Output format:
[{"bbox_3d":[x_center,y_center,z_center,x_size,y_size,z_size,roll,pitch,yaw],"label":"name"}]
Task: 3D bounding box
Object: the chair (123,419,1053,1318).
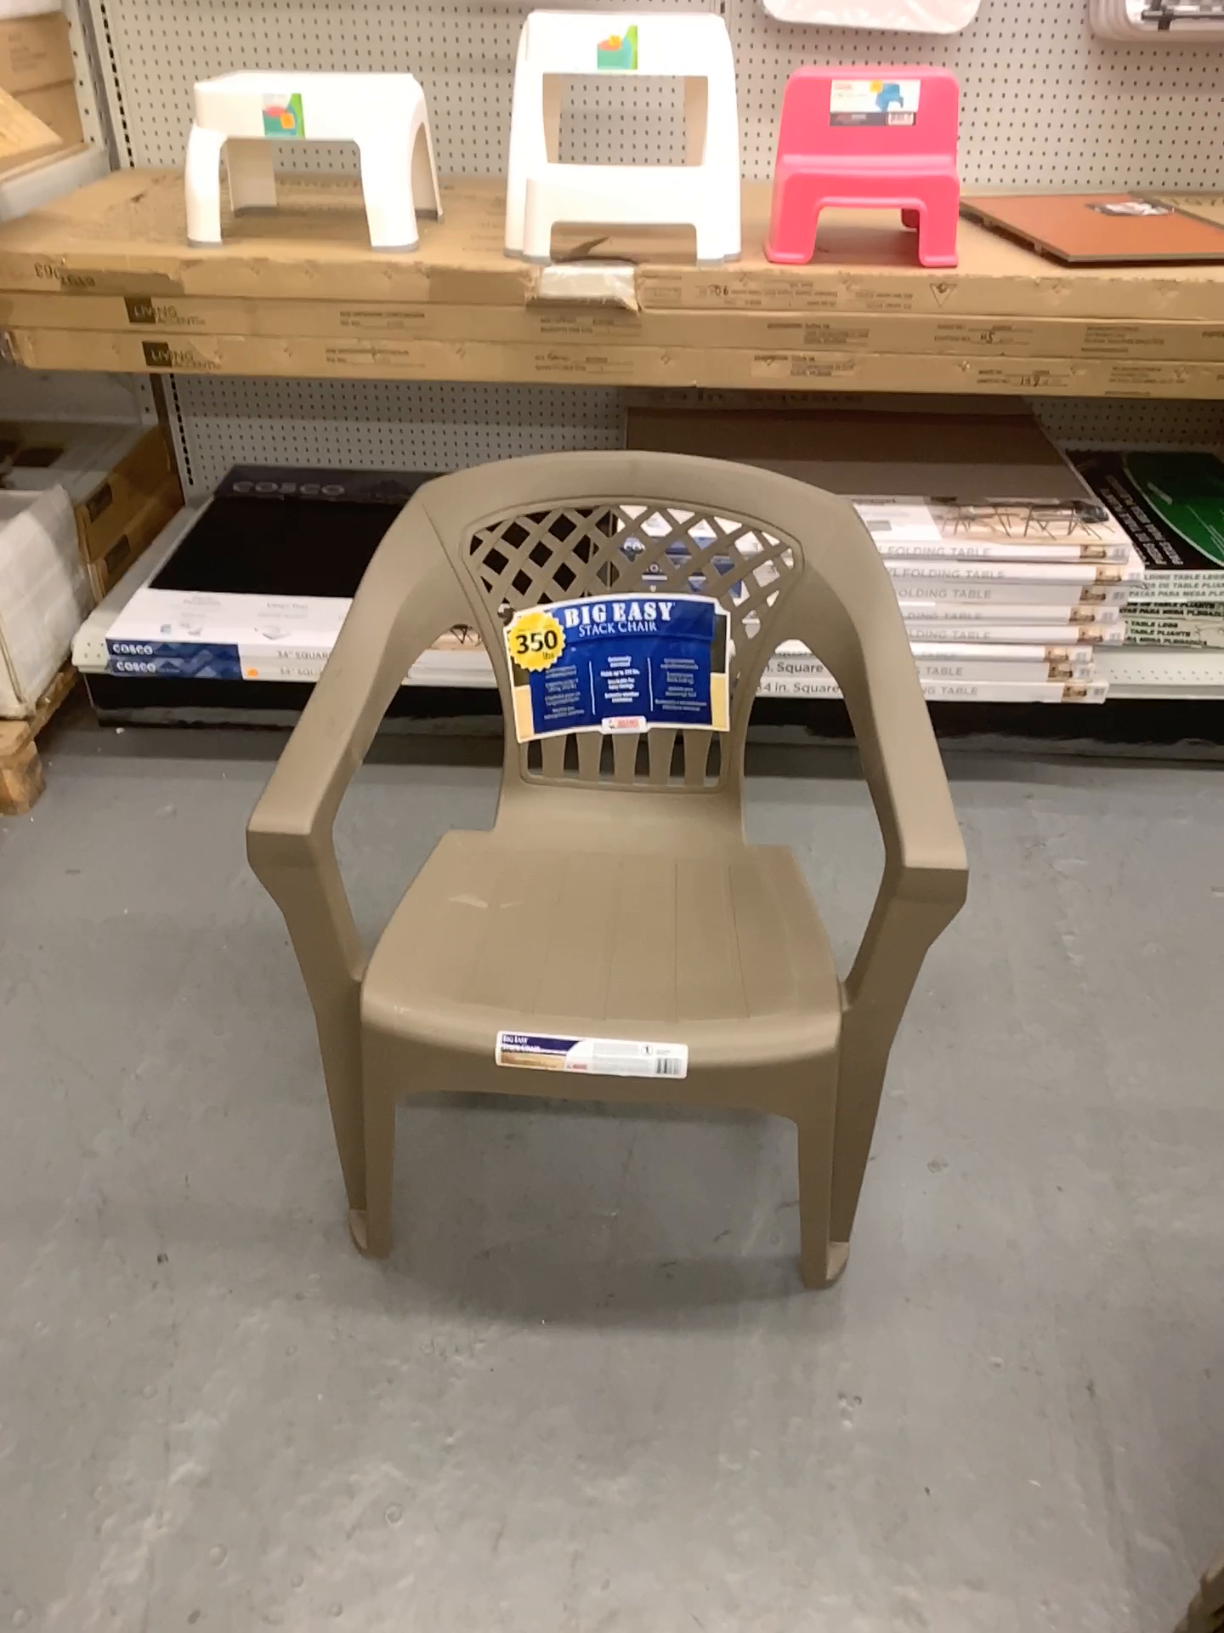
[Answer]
[{"bbox_3d":[-0.016,0.059,1.510,0.766,0.878,0.591,2,34,2],"label":"chair"}]
